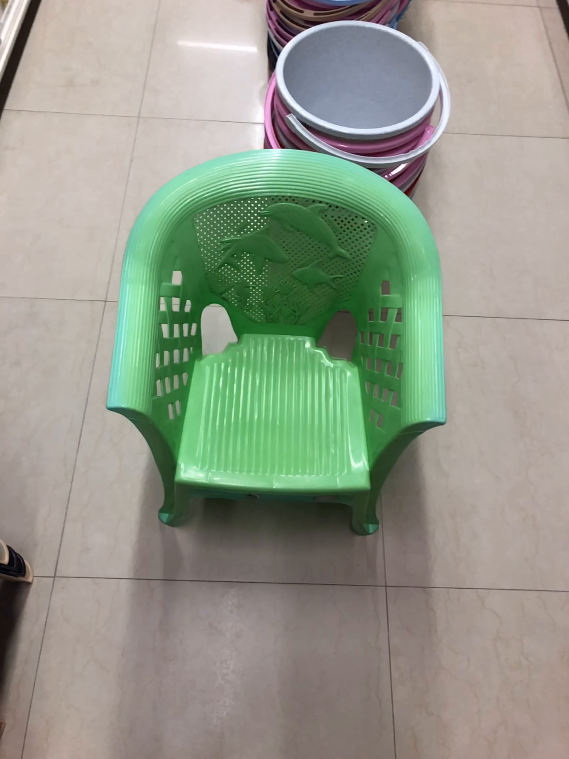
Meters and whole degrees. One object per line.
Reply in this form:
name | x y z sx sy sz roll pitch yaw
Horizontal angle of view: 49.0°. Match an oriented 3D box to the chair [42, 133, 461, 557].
chair | -0.033 -0.027 0.926 0.430 0.398 0.472 3 63 -1
